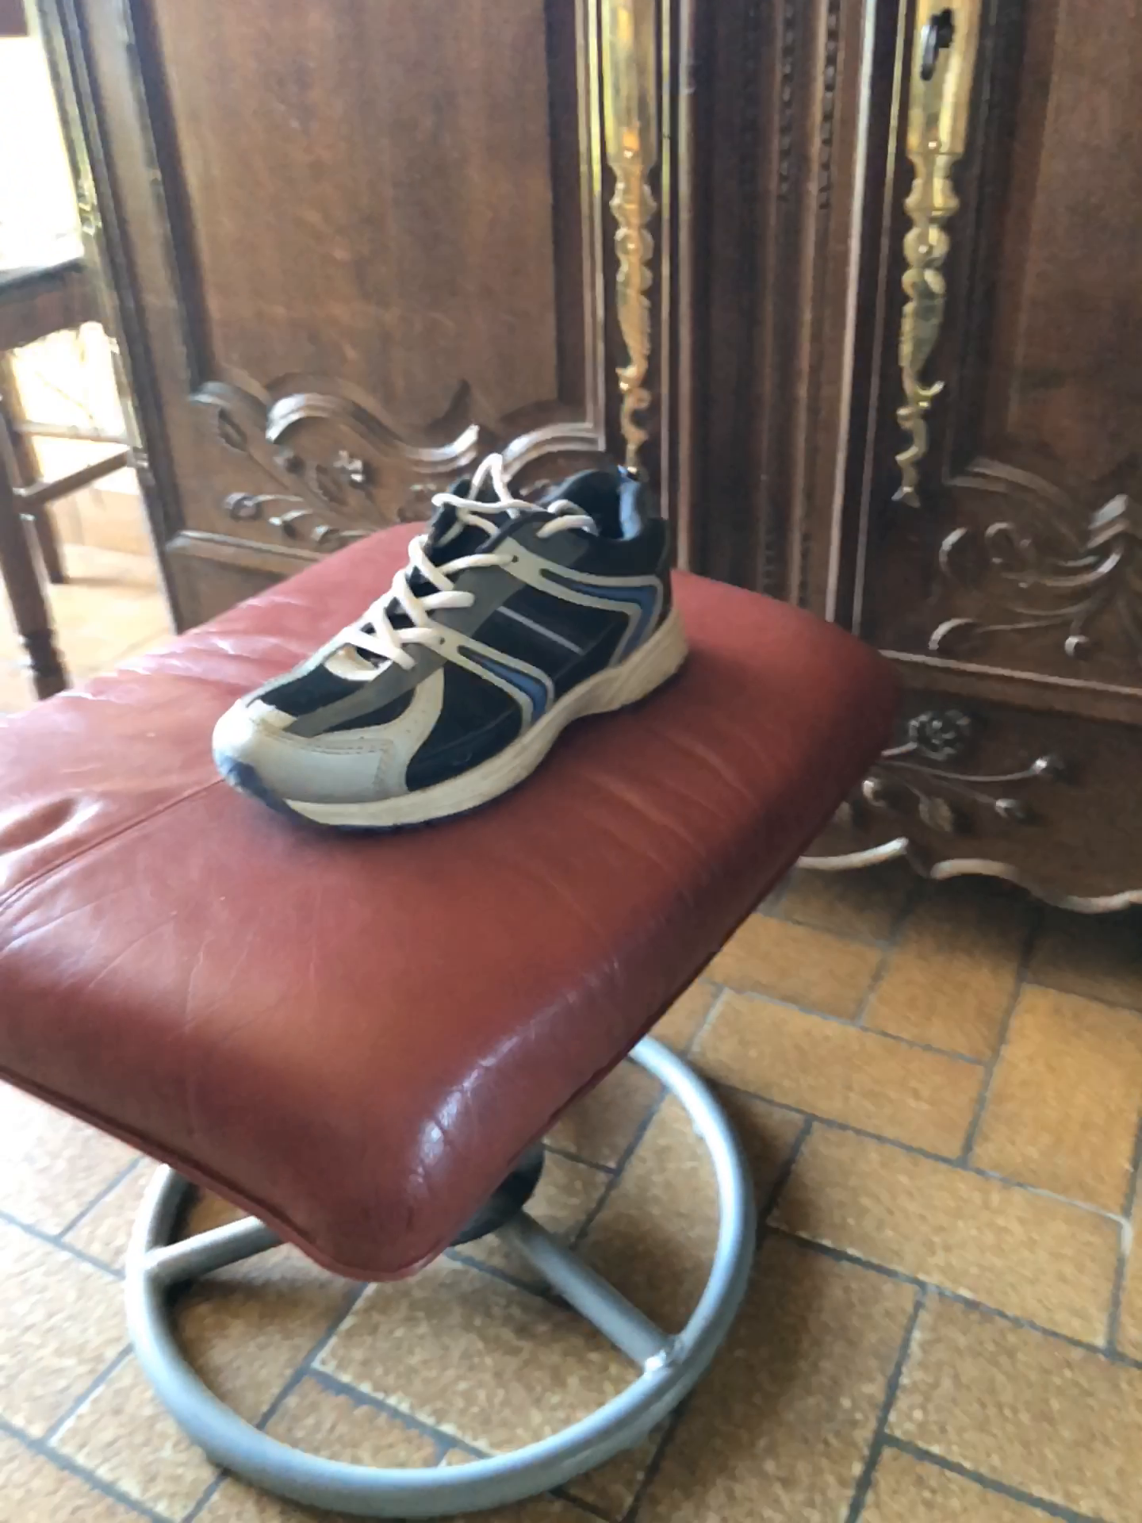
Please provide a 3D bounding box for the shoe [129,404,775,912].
[{"bbox_3d":[-0.037,-0.063,0.557,0.261,0.119,0.110,-28,38,-36],"label":"shoe"}]
